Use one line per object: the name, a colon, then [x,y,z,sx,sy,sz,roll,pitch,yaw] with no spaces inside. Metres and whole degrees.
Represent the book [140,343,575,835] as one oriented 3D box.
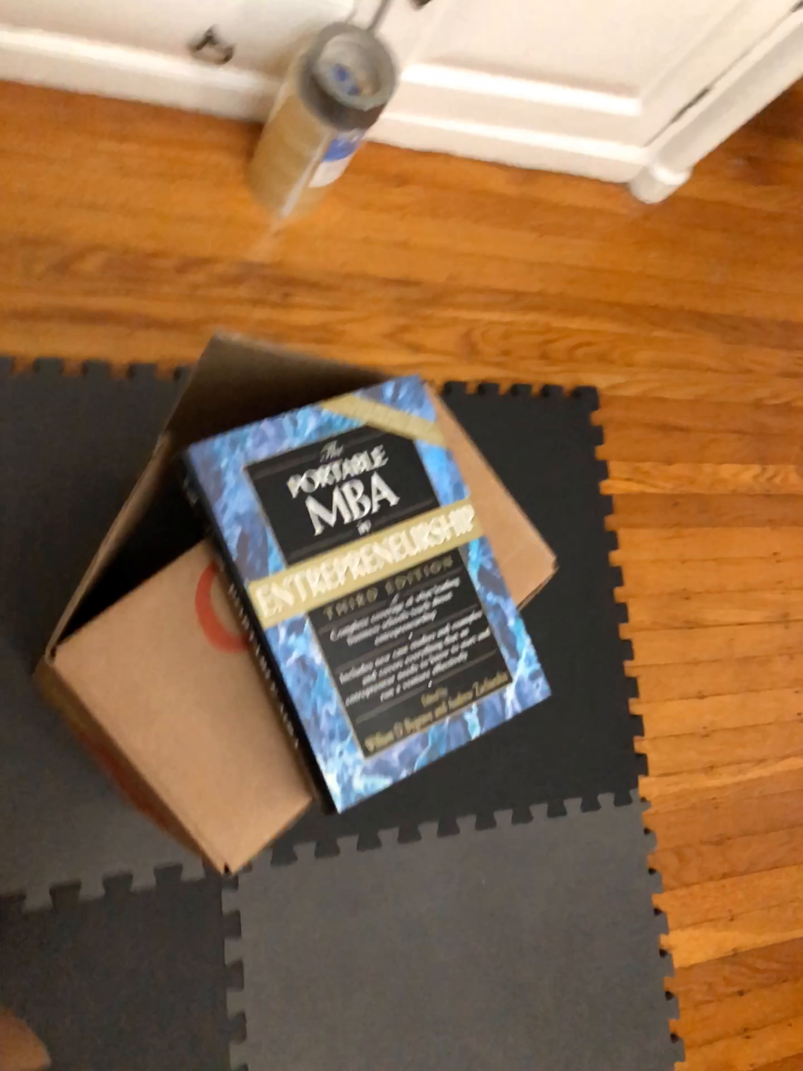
book: [-0.026,0.028,0.618,0.211,0.060,0.270,-22,90,-25]
